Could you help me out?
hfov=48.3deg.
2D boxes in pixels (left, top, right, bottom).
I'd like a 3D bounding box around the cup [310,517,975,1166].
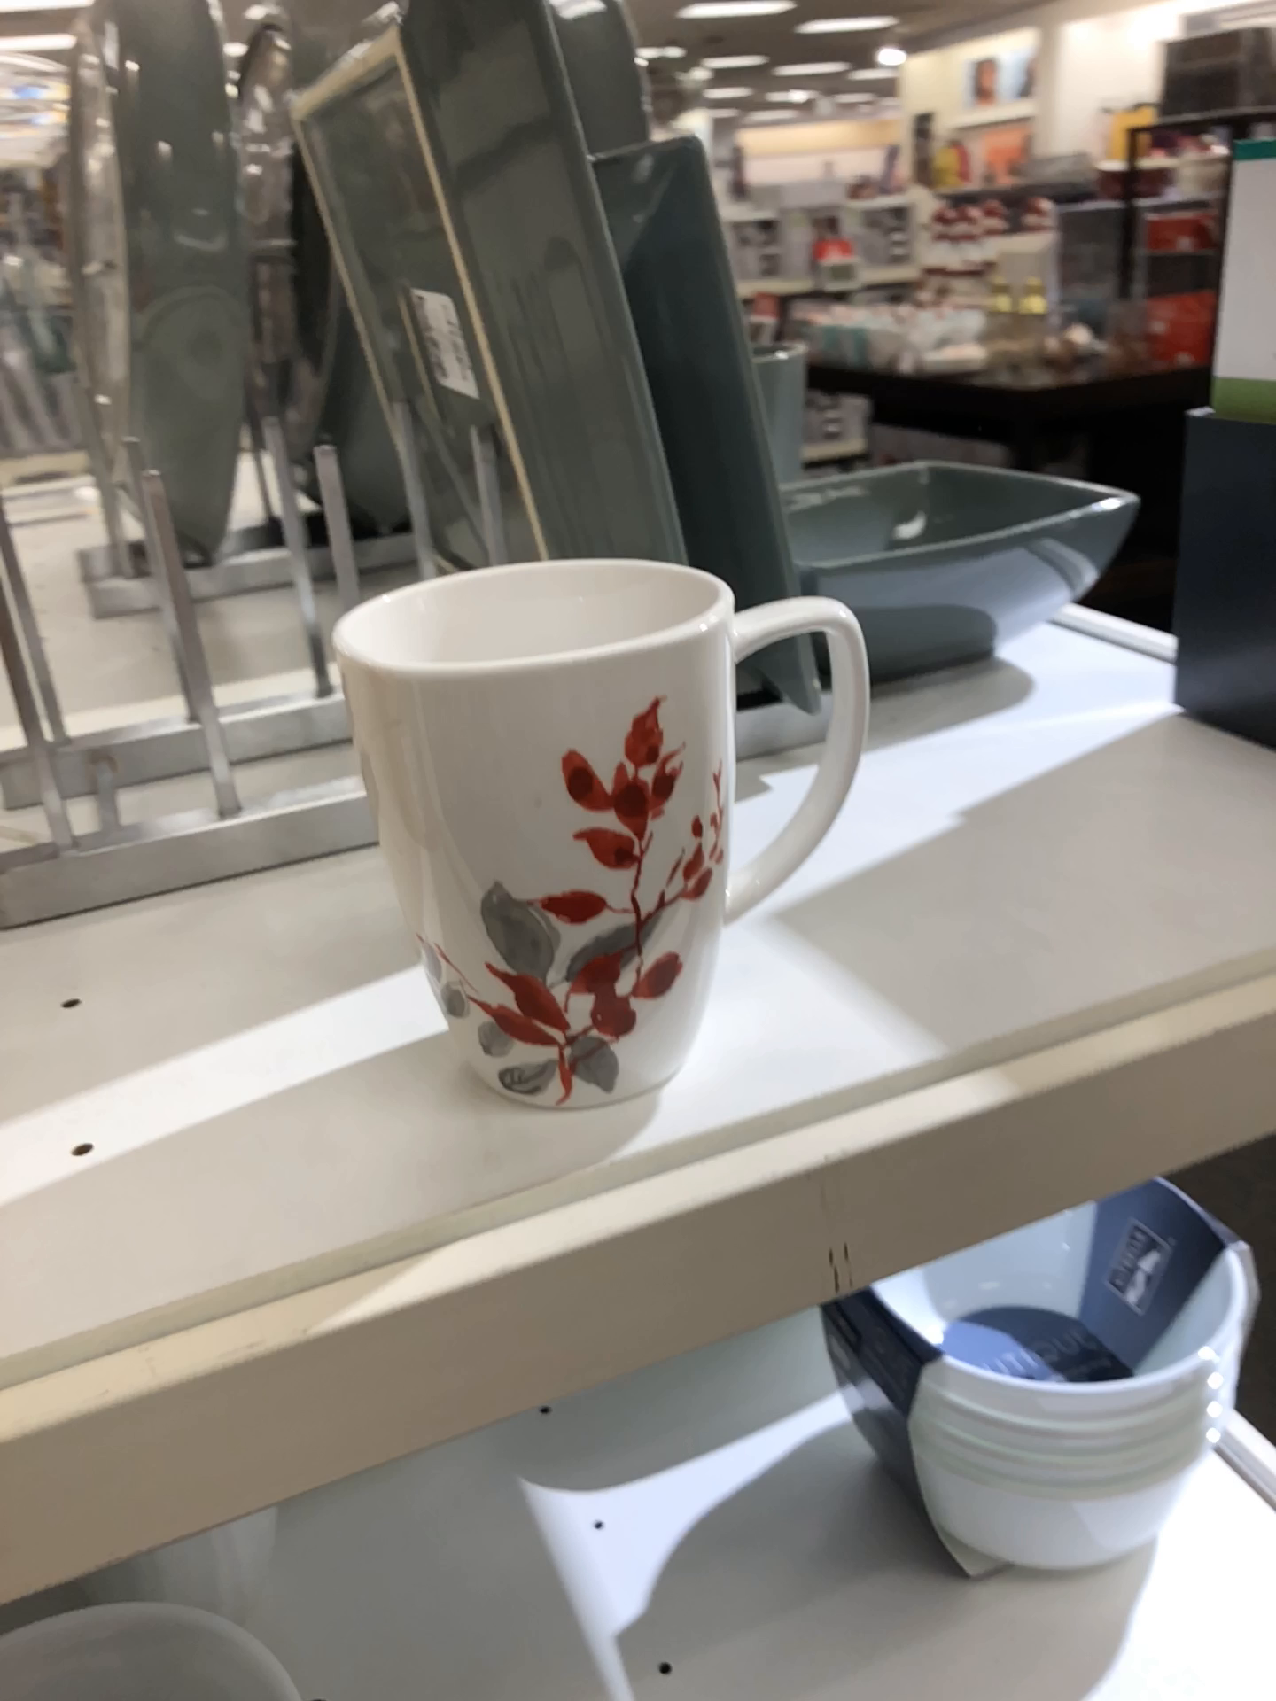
[{"bbox_3d":[0.000,-0.010,0.321,0.119,0.100,0.085,-13,25,-16],"label":"cup"}]
